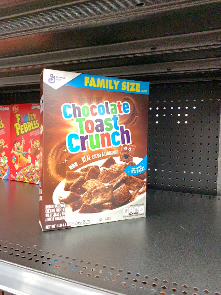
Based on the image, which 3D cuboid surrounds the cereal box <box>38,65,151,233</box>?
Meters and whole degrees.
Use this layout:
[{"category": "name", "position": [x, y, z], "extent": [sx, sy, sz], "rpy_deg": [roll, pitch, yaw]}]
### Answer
[{"category": "cereal box", "position": [-0.033, 0.001, 0.512], "extent": [0.240, 0.320, 0.070], "rpy_deg": [-1, 4, -24]}]
